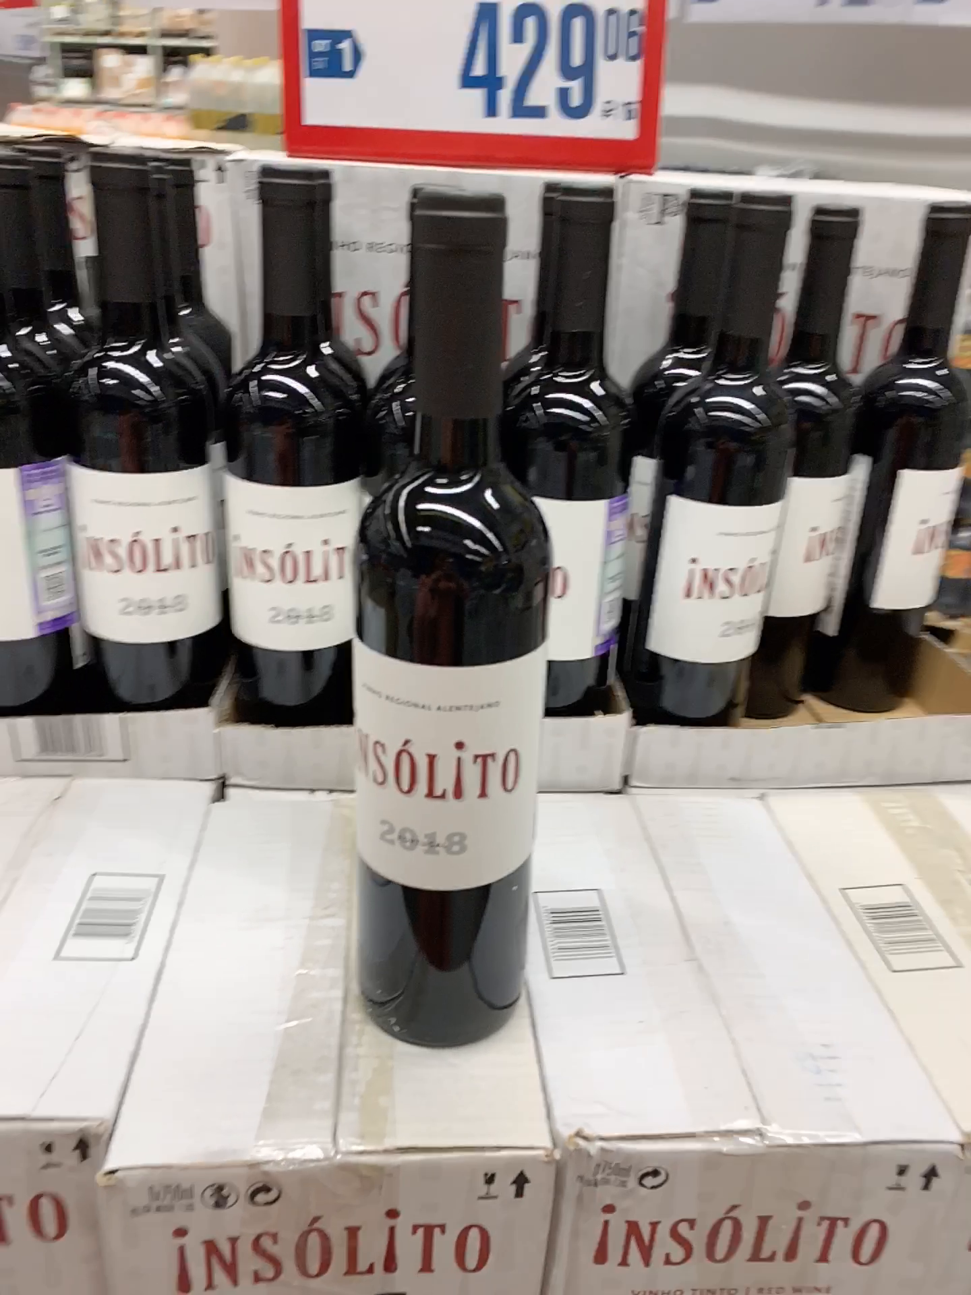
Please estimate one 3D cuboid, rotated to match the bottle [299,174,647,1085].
[{"bbox_3d":[-0.011,0.003,0.363,0.077,0.310,0.080,4,25,-2],"label":"bottle"}]
